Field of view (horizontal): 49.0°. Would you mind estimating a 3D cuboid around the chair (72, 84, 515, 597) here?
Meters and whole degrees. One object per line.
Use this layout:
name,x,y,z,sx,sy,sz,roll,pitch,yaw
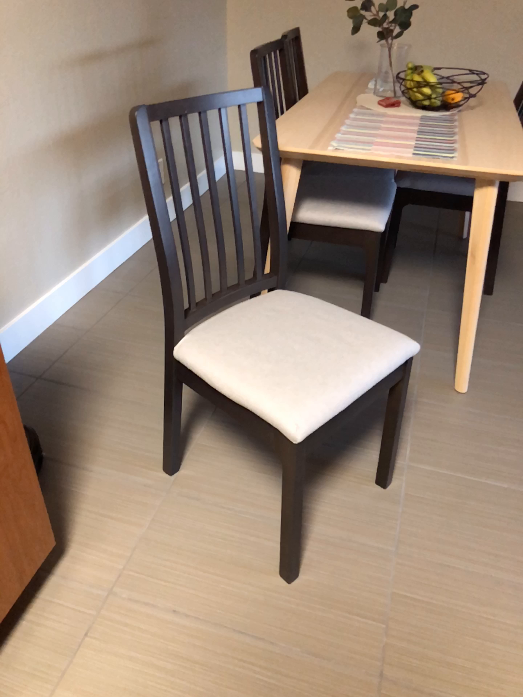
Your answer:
chair,0.057,-0.070,1.298,0.591,0.846,0.582,27,41,34
